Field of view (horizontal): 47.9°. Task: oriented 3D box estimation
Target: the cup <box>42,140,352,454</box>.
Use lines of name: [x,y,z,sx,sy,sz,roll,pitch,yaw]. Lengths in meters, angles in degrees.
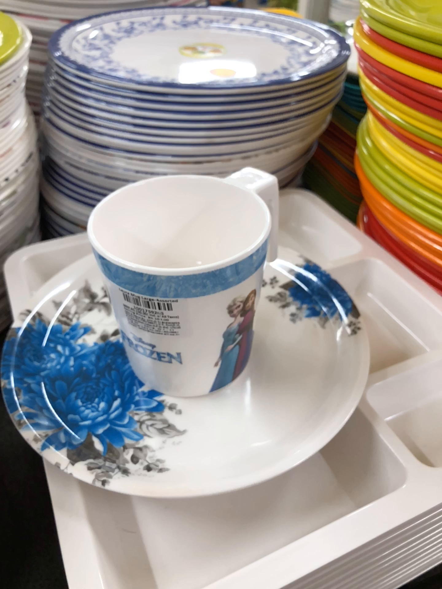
cup: [-0.009,-0.006,0.246,0.111,0.089,0.080,-31,50,-33]
